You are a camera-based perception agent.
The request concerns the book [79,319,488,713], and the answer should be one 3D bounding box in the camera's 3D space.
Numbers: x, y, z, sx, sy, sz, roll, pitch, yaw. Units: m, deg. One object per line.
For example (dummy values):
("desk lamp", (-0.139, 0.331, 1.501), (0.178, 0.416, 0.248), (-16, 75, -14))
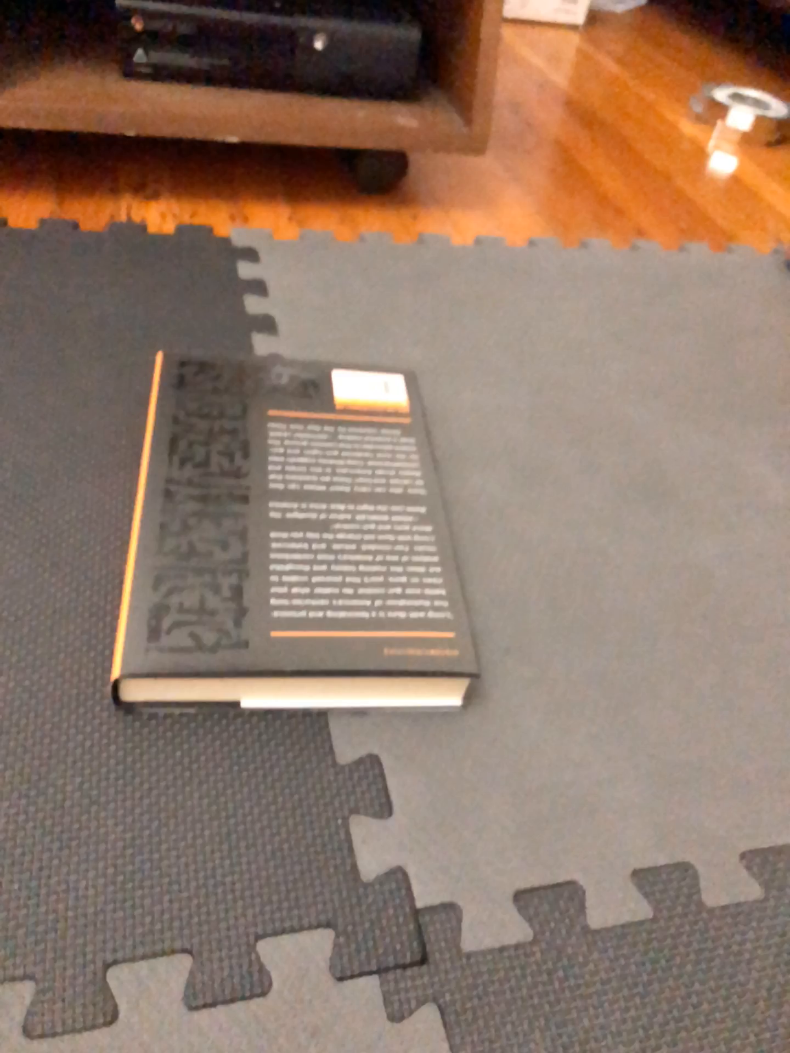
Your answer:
("book", (-0.059, -0.021, 0.476), (0.170, 0.040, 0.262), (2, 43, -10))
